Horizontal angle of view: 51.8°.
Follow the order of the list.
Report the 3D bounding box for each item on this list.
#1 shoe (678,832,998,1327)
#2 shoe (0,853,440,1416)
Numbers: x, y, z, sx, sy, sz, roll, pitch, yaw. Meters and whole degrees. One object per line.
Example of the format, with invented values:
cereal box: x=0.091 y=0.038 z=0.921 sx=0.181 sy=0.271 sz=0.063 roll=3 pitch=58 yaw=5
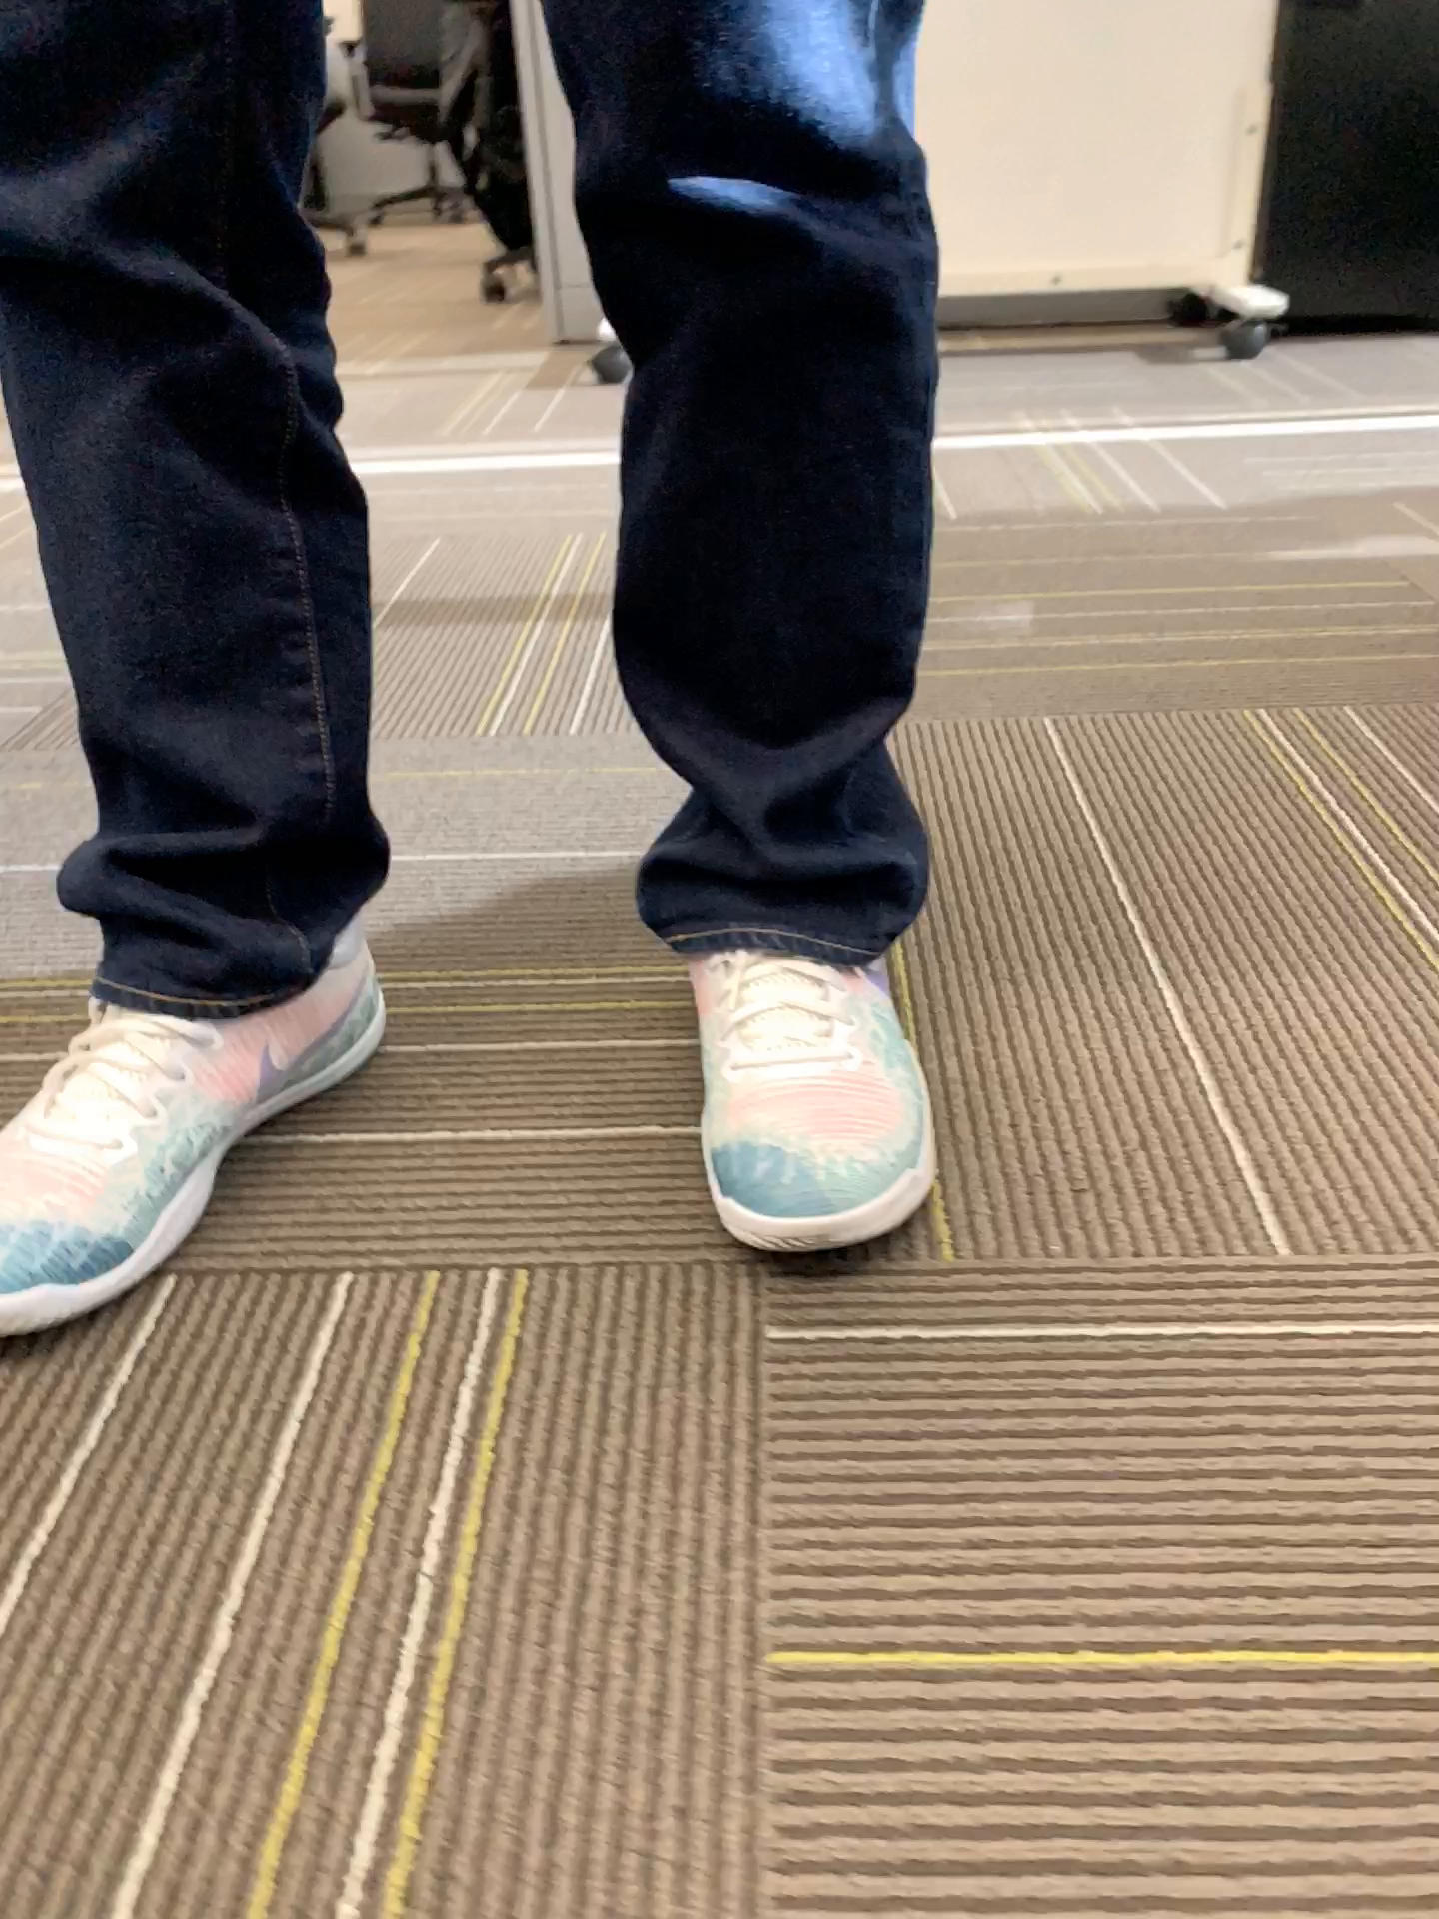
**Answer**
shoe: x=0.047 y=0.040 z=0.712 sx=0.122 sy=0.078 sz=0.291 roll=-3 pitch=30 yaw=1
shoe: x=-0.261 y=0.059 z=0.679 sx=0.118 sy=0.088 sz=0.284 roll=10 pitch=33 yaw=21
